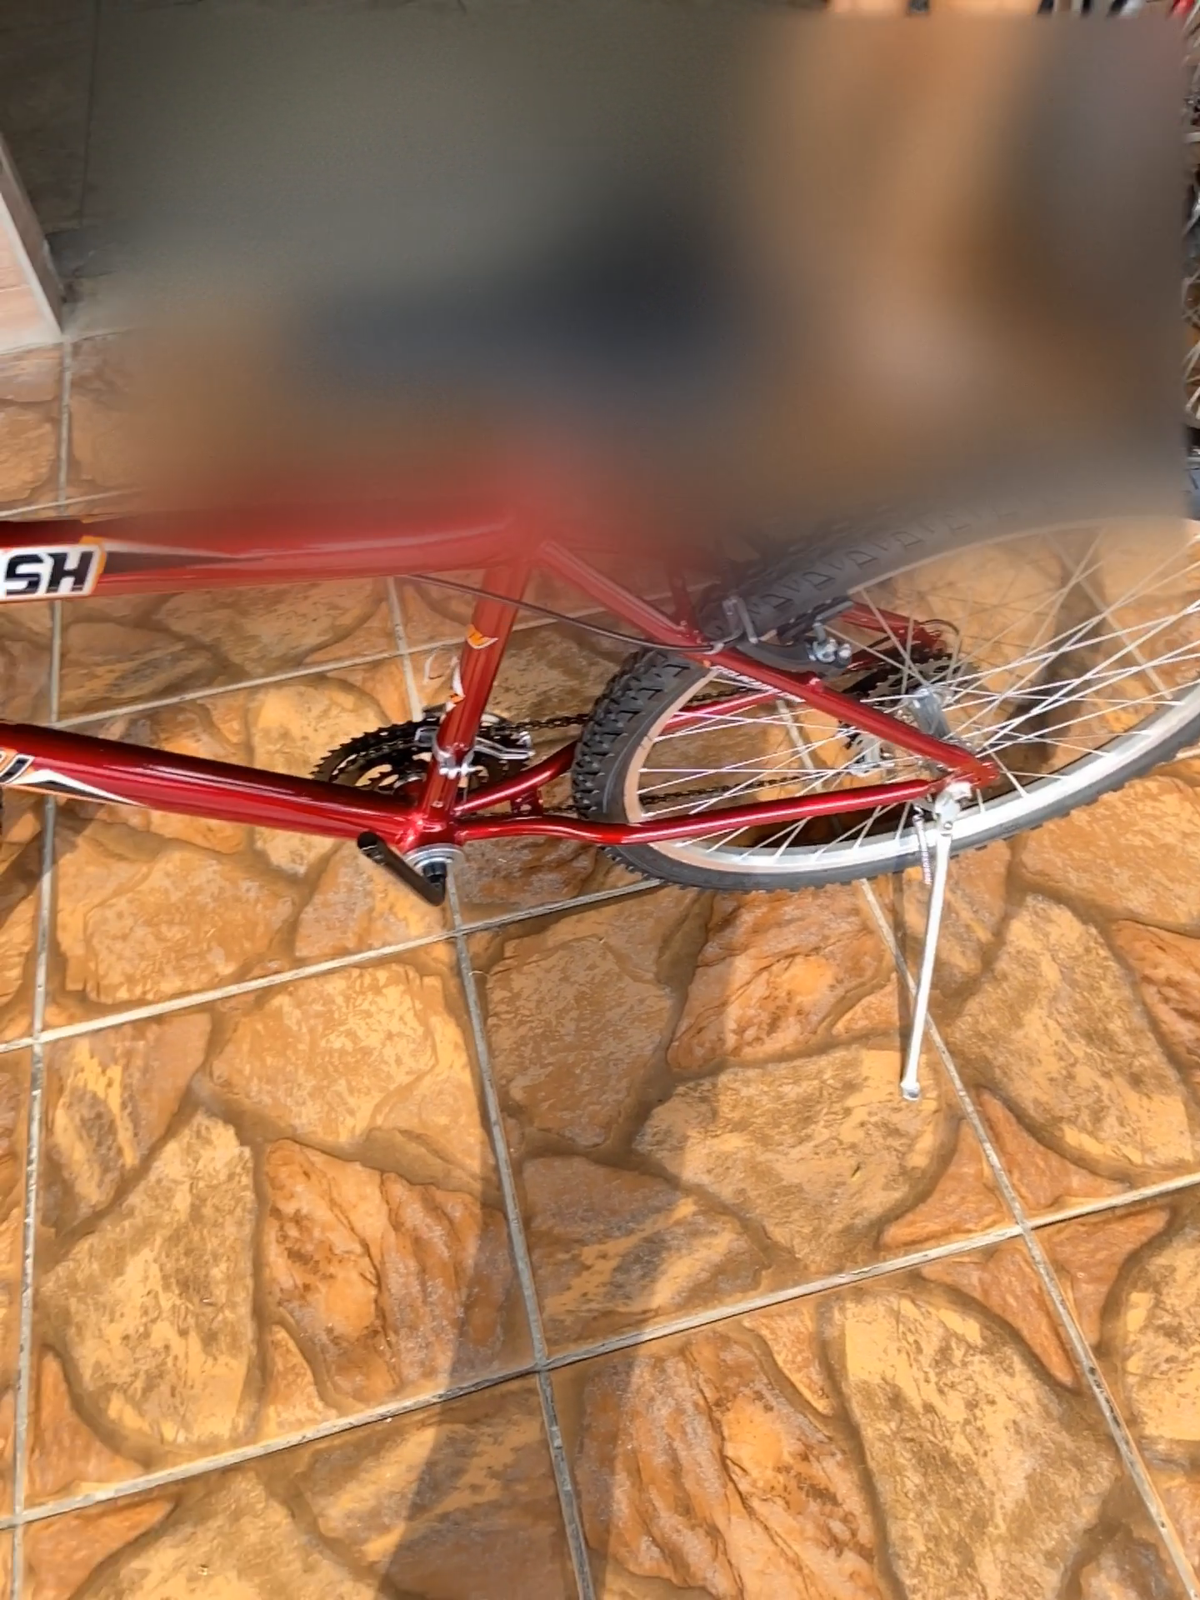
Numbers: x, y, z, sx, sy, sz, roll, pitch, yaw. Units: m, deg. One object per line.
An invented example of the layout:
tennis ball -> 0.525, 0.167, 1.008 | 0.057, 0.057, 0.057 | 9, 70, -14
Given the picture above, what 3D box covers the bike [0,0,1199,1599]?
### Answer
bike -> -0.160, 0.096, 0.772 | 1.557, 0.986, 0.601 | -20, 52, -8
